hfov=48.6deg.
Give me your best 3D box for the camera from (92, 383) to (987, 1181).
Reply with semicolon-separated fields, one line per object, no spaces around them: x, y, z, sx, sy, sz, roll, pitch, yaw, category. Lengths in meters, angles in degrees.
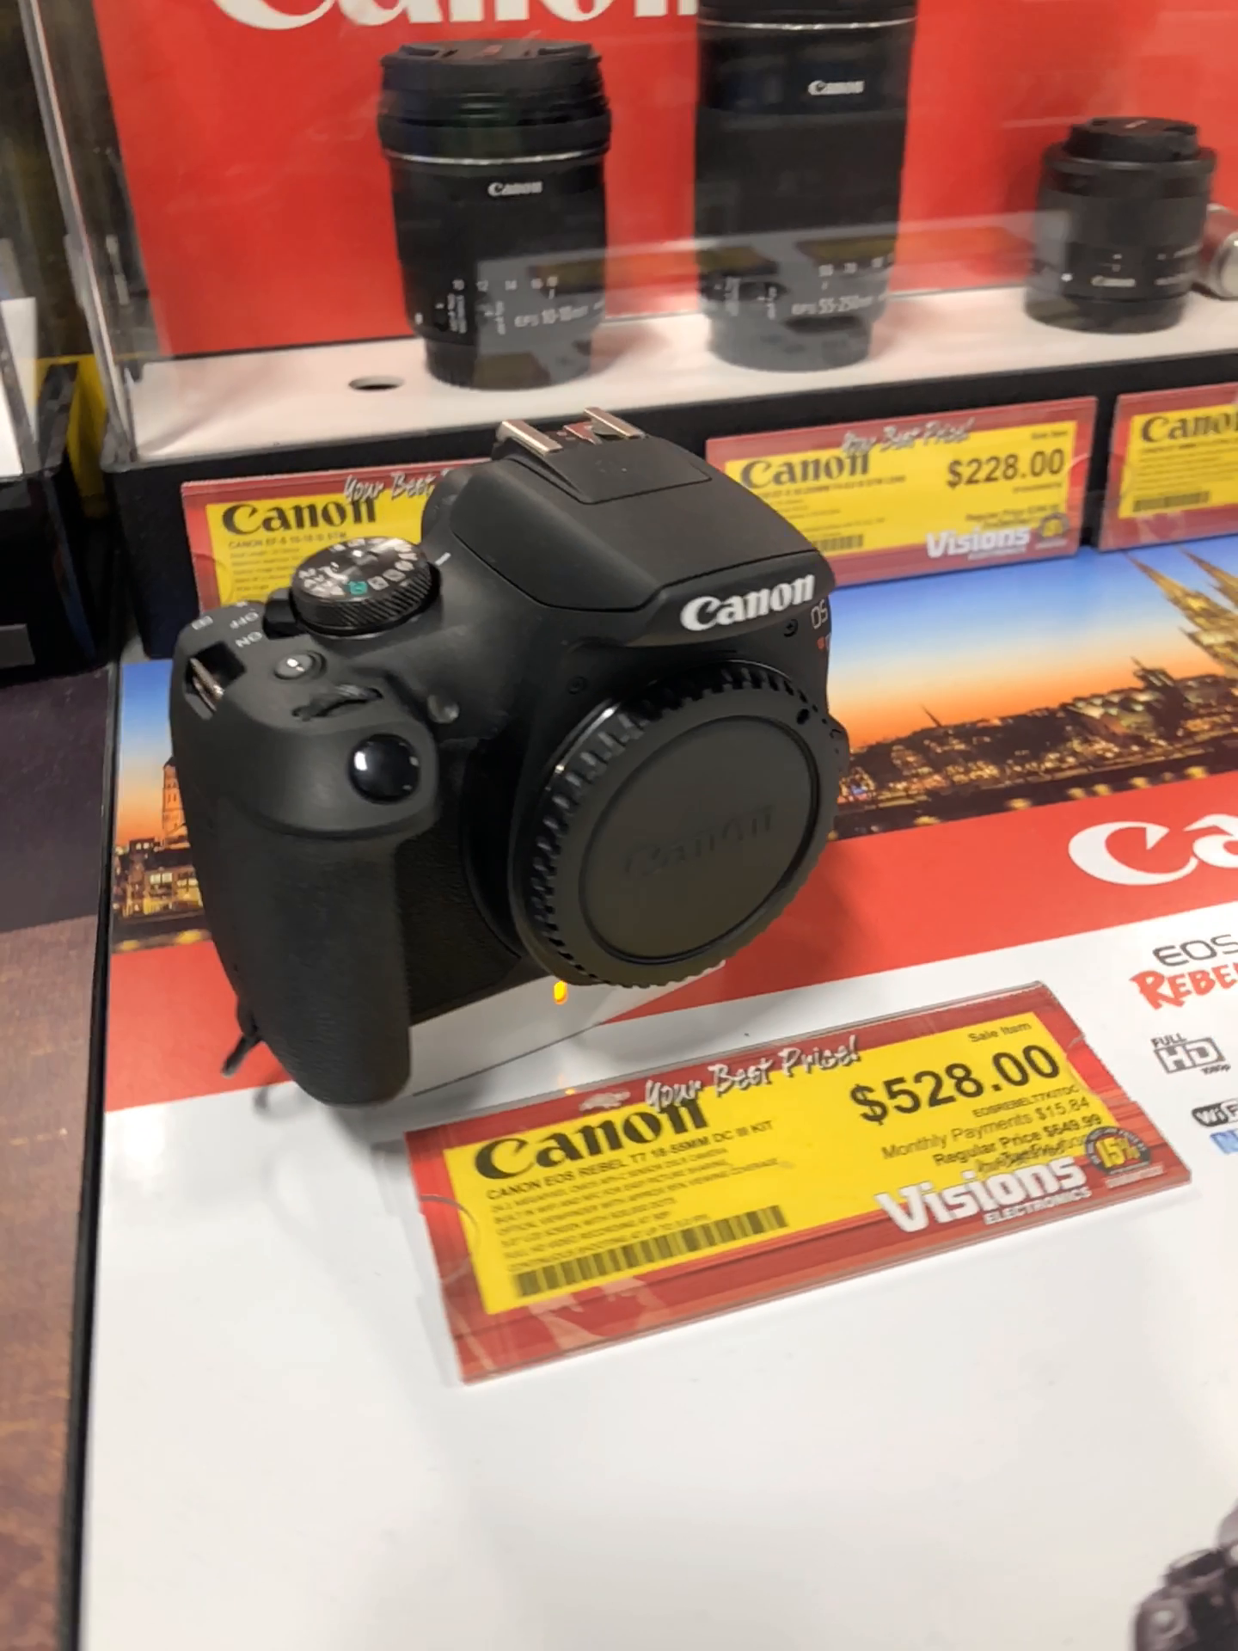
-0.013;-0.018;0.258;0.130;0.089;0.080;-20;38;-26;camera
